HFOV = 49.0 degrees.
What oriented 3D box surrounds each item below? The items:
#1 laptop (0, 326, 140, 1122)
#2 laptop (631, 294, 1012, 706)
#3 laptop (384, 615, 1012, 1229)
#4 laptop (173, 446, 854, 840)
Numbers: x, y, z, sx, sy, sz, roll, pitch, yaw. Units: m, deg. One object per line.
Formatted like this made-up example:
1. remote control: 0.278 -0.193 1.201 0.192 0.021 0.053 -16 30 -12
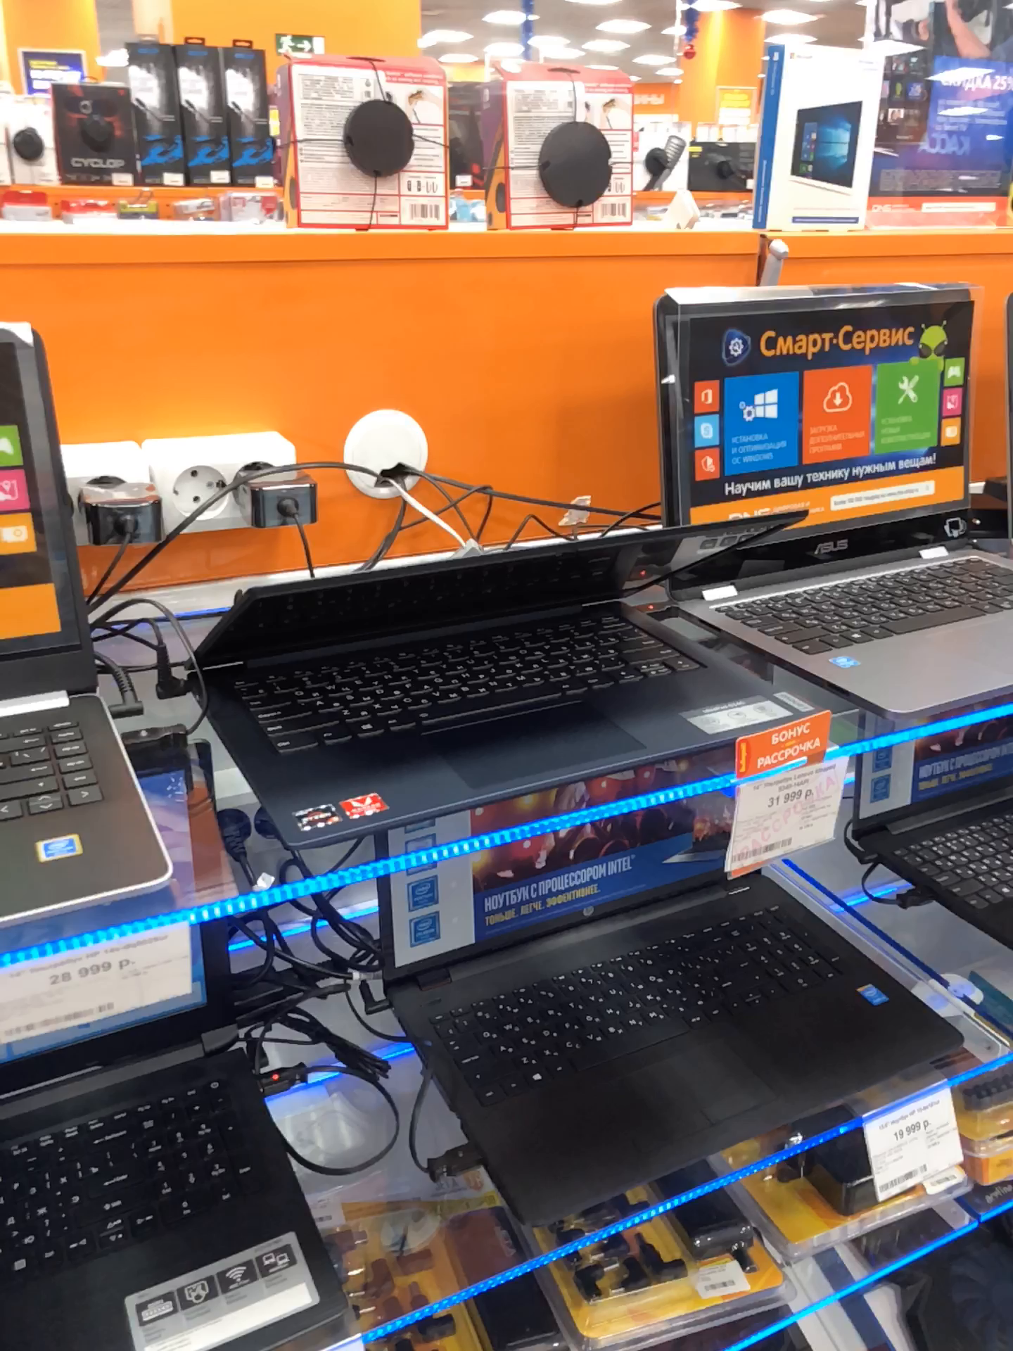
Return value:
1. laptop: -0.341 -0.026 0.472 0.302 0.200 0.250 -10 26 -25
2. laptop: 0.305 -0.148 0.775 0.331 0.202 0.258 -12 26 -29
3. laptop: 0.123 0.142 0.803 0.355 0.227 0.258 -11 28 -24
4. laptop: -0.005 -0.039 0.617 0.302 0.108 0.204 -11 26 -23
